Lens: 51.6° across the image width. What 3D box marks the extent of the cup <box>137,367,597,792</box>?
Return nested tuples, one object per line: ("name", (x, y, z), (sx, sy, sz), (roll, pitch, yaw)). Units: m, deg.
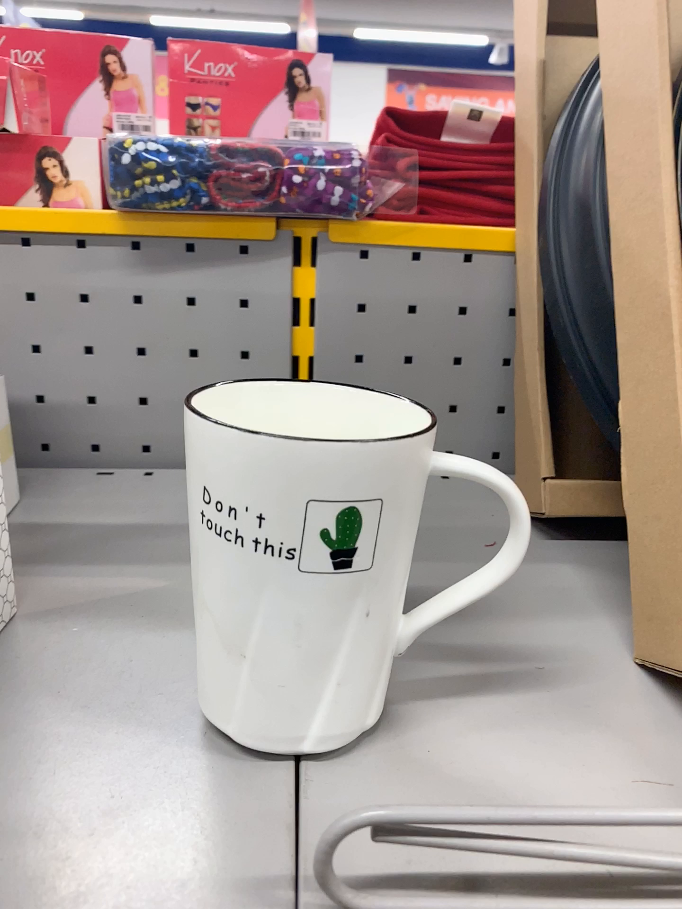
("cup", (0.006, 0.039, 0.260), (0.130, 0.120, 0.090), (3, 18, 0))
